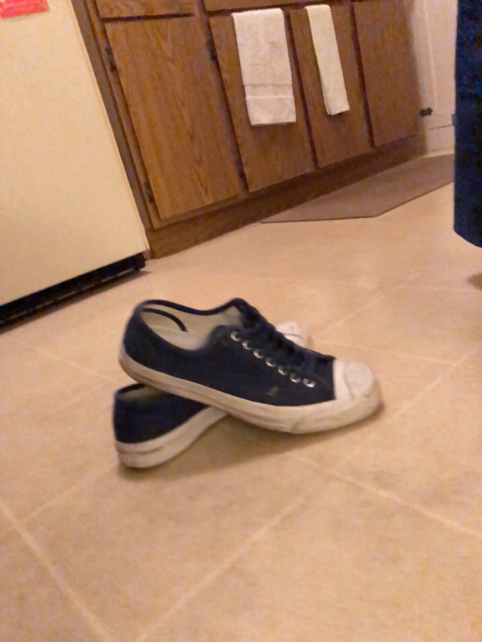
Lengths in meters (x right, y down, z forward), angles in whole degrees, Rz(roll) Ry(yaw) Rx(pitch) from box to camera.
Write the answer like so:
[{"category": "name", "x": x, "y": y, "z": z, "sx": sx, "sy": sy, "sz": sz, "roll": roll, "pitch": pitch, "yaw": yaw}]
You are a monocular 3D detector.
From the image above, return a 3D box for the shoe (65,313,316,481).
[{"category": "shoe", "x": -0.048, "y": 0.075, "z": 0.651, "sx": 0.290, "sy": 0.080, "sz": 0.110, "roll": -20, "pitch": 22, "yaw": -37}]

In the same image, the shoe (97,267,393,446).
[{"category": "shoe", "x": 0.004, "y": 0.037, "z": 0.578, "sx": 0.290, "sy": 0.099, "sz": 0.101, "roll": 11, "pitch": 40, "yaw": 2}]
